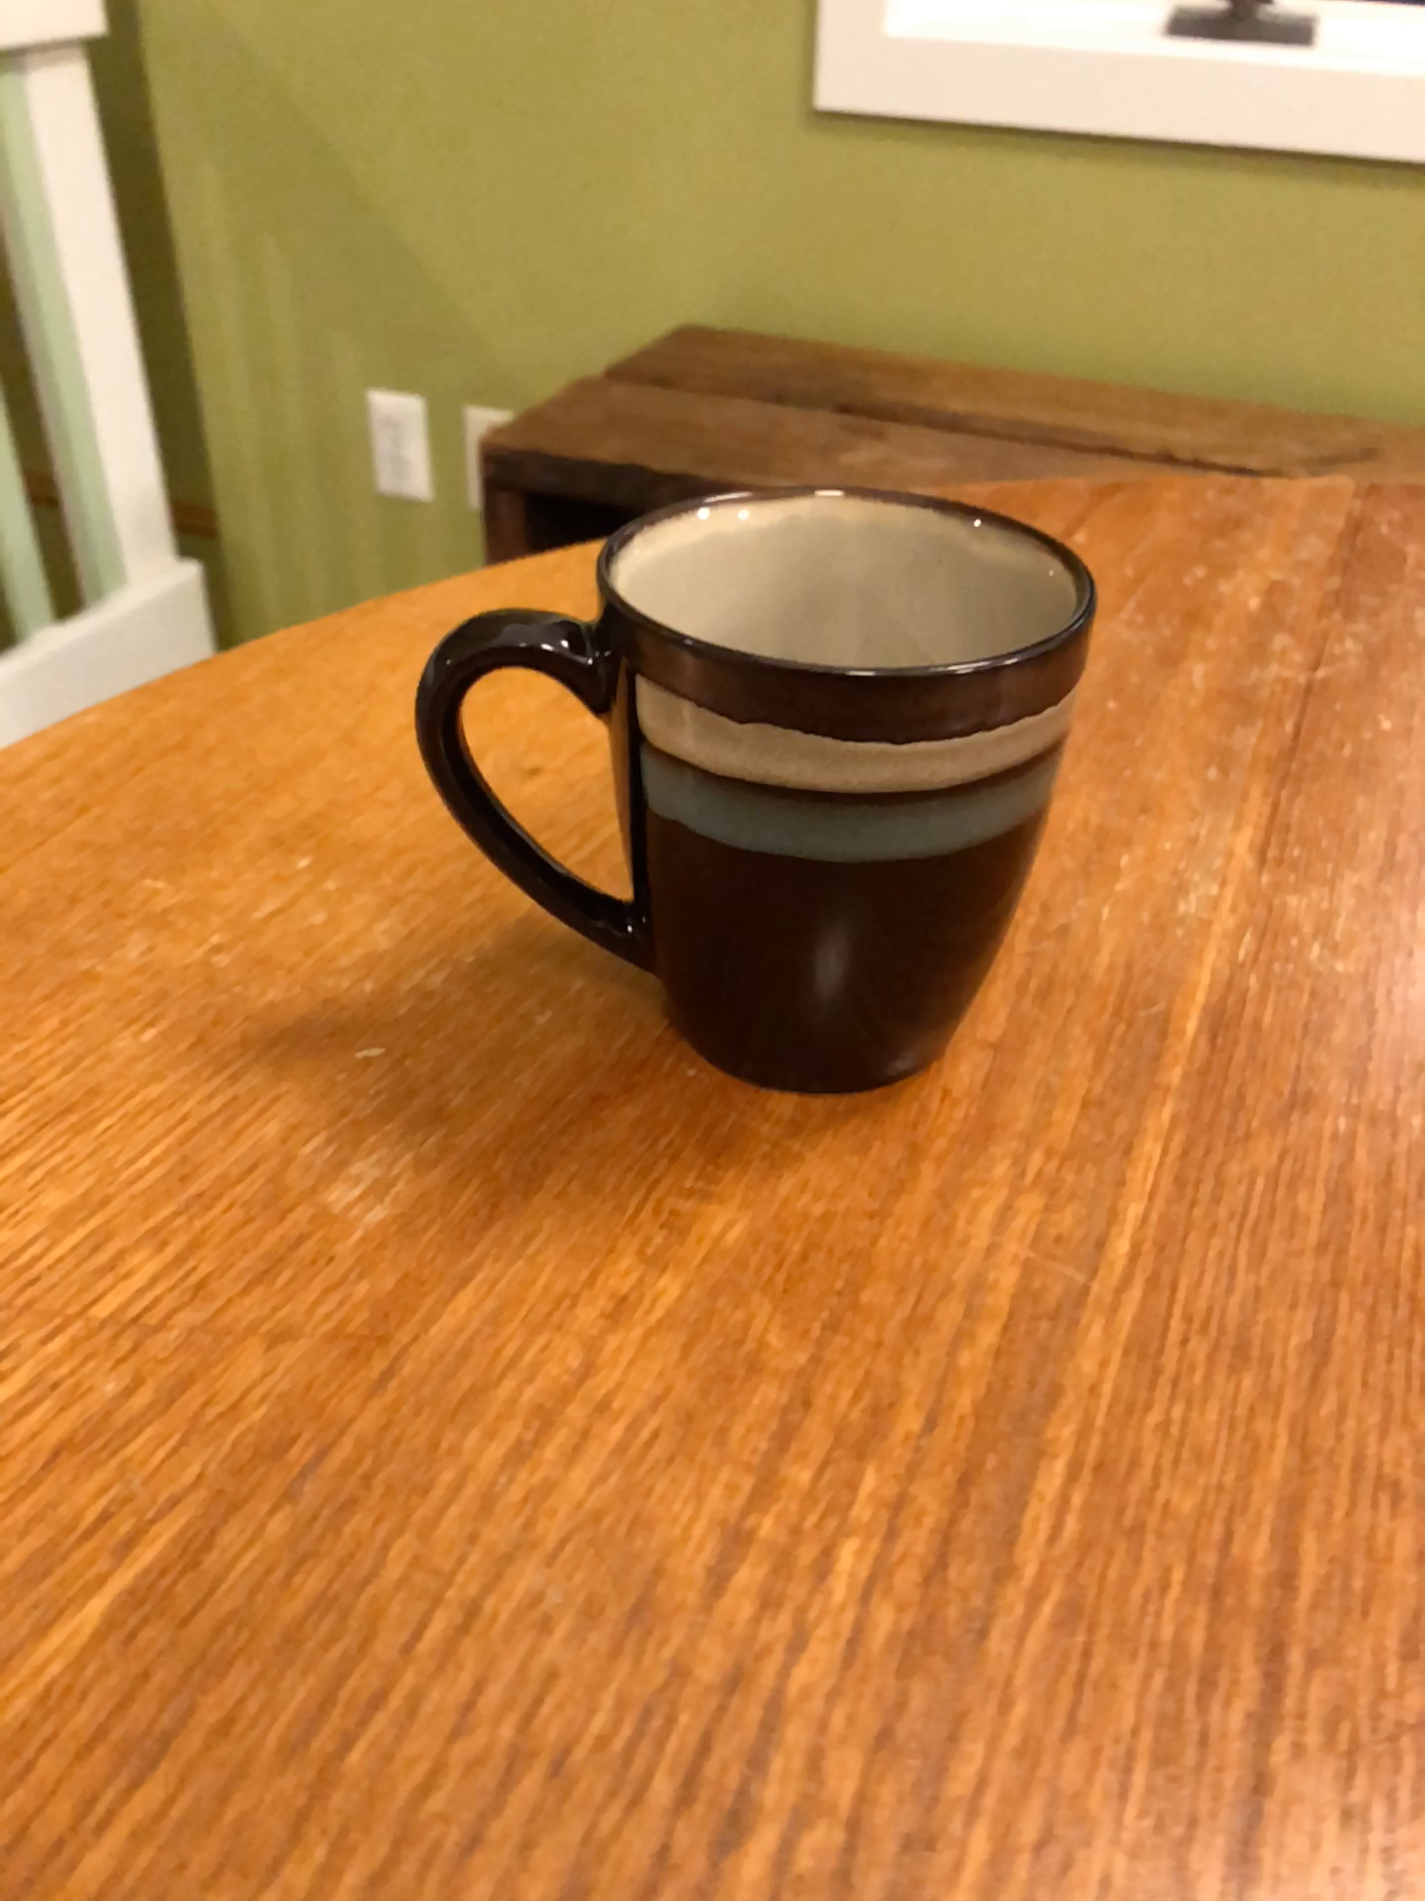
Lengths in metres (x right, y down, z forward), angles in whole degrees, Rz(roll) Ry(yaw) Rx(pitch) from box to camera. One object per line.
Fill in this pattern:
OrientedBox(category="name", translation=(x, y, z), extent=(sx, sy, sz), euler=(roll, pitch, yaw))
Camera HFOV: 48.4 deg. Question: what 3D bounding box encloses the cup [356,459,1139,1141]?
OrientedBox(category="cup", translation=(0.007, -0.034, 0.320), extent=(0.125, 0.093, 0.099), euler=(3, 35, 3))
